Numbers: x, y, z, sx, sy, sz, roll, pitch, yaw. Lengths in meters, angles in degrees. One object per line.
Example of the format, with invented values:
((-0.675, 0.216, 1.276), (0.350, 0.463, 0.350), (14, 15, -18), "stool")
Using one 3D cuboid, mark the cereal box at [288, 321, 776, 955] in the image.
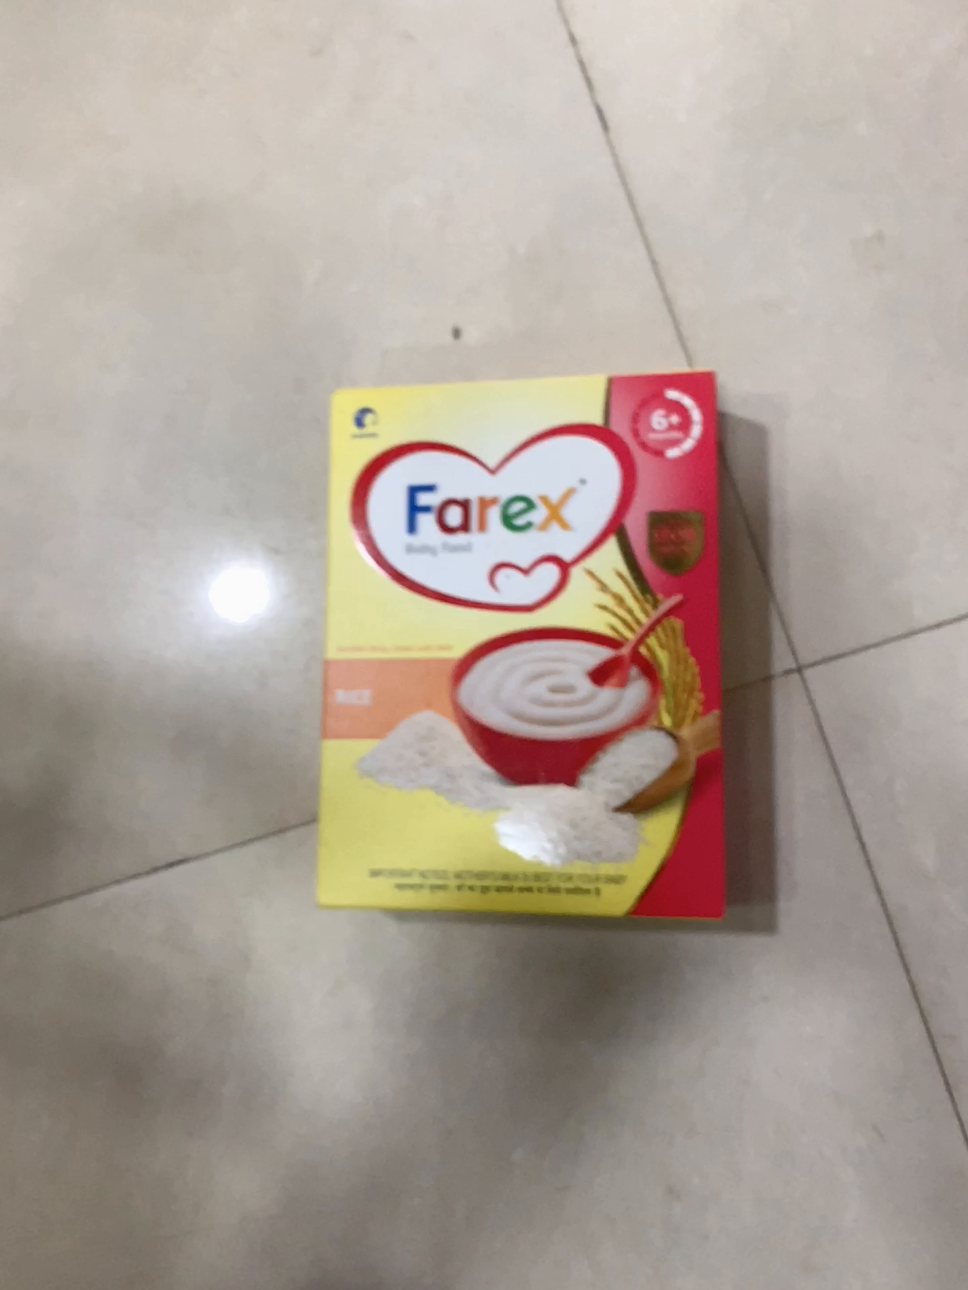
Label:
((0.018, -0.002, 0.373), (0.160, 0.060, 0.210), (-1, 82, 9), "cereal box")
